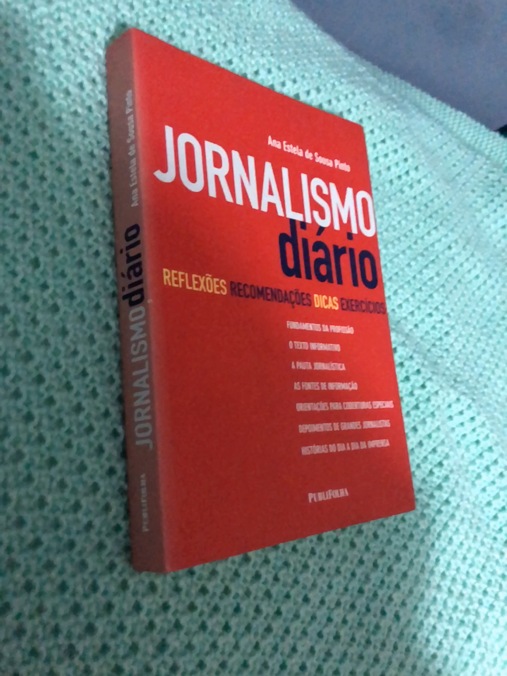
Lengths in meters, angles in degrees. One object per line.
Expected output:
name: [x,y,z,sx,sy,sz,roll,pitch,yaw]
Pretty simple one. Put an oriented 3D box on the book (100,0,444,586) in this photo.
book: [0.012,-0.032,0.274,0.161,0.030,0.250,4,75,-37]
